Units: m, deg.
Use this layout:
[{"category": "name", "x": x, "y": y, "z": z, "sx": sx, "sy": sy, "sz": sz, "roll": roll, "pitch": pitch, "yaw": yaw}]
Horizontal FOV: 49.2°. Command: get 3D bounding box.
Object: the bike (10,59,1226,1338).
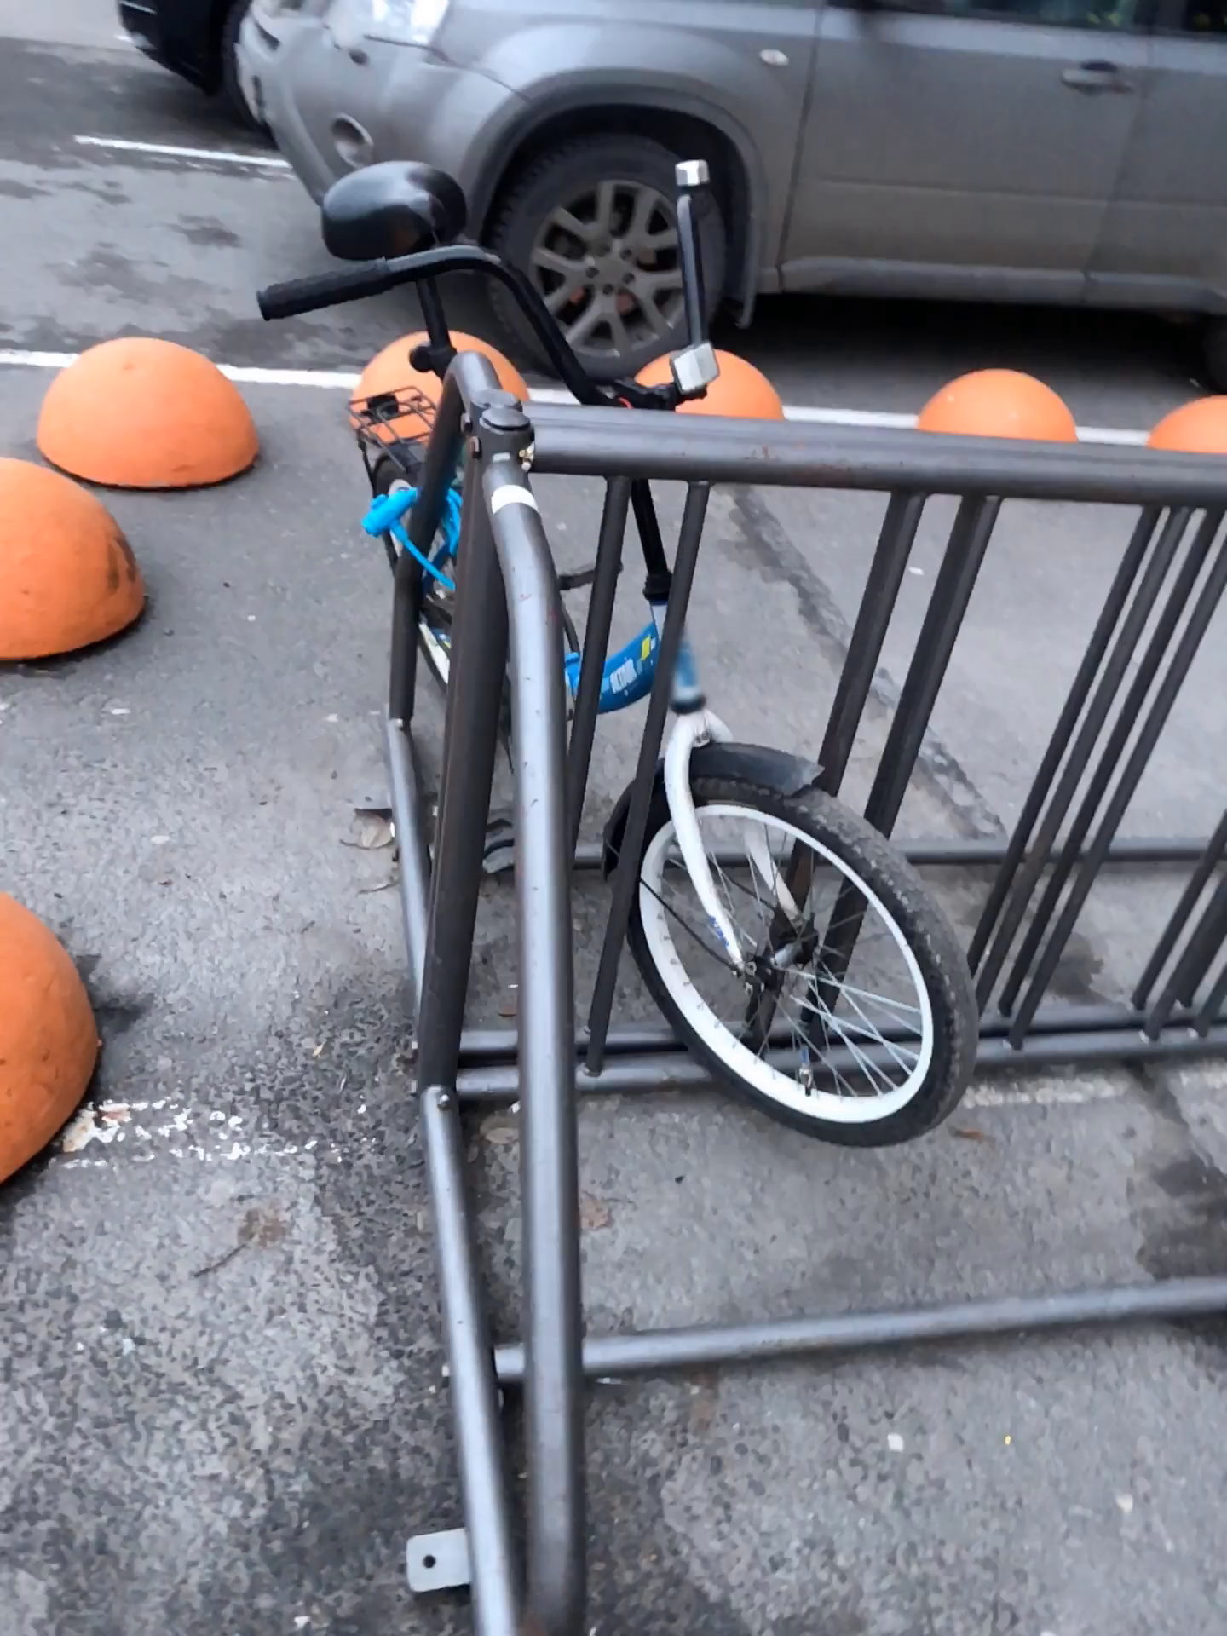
[{"category": "bike", "x": -0.168, "y": -0.326, "z": 1.617, "sx": 0.724, "sy": 0.992, "sz": 1.425, "roll": -13, "pitch": 35, "yaw": -28}]
